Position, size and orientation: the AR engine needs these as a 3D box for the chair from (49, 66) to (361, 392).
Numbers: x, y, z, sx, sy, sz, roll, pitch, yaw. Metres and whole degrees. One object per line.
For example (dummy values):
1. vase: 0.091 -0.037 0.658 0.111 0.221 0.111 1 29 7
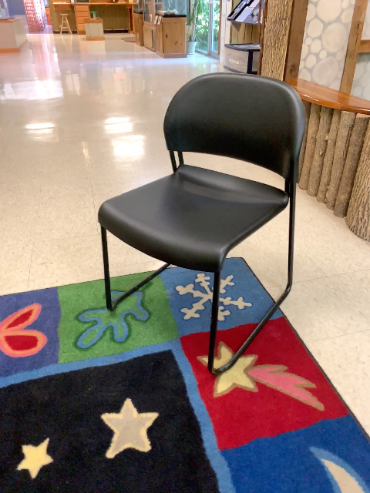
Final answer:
1. chair: 0.073 -0.135 1.241 0.612 0.735 0.632 23 39 33
